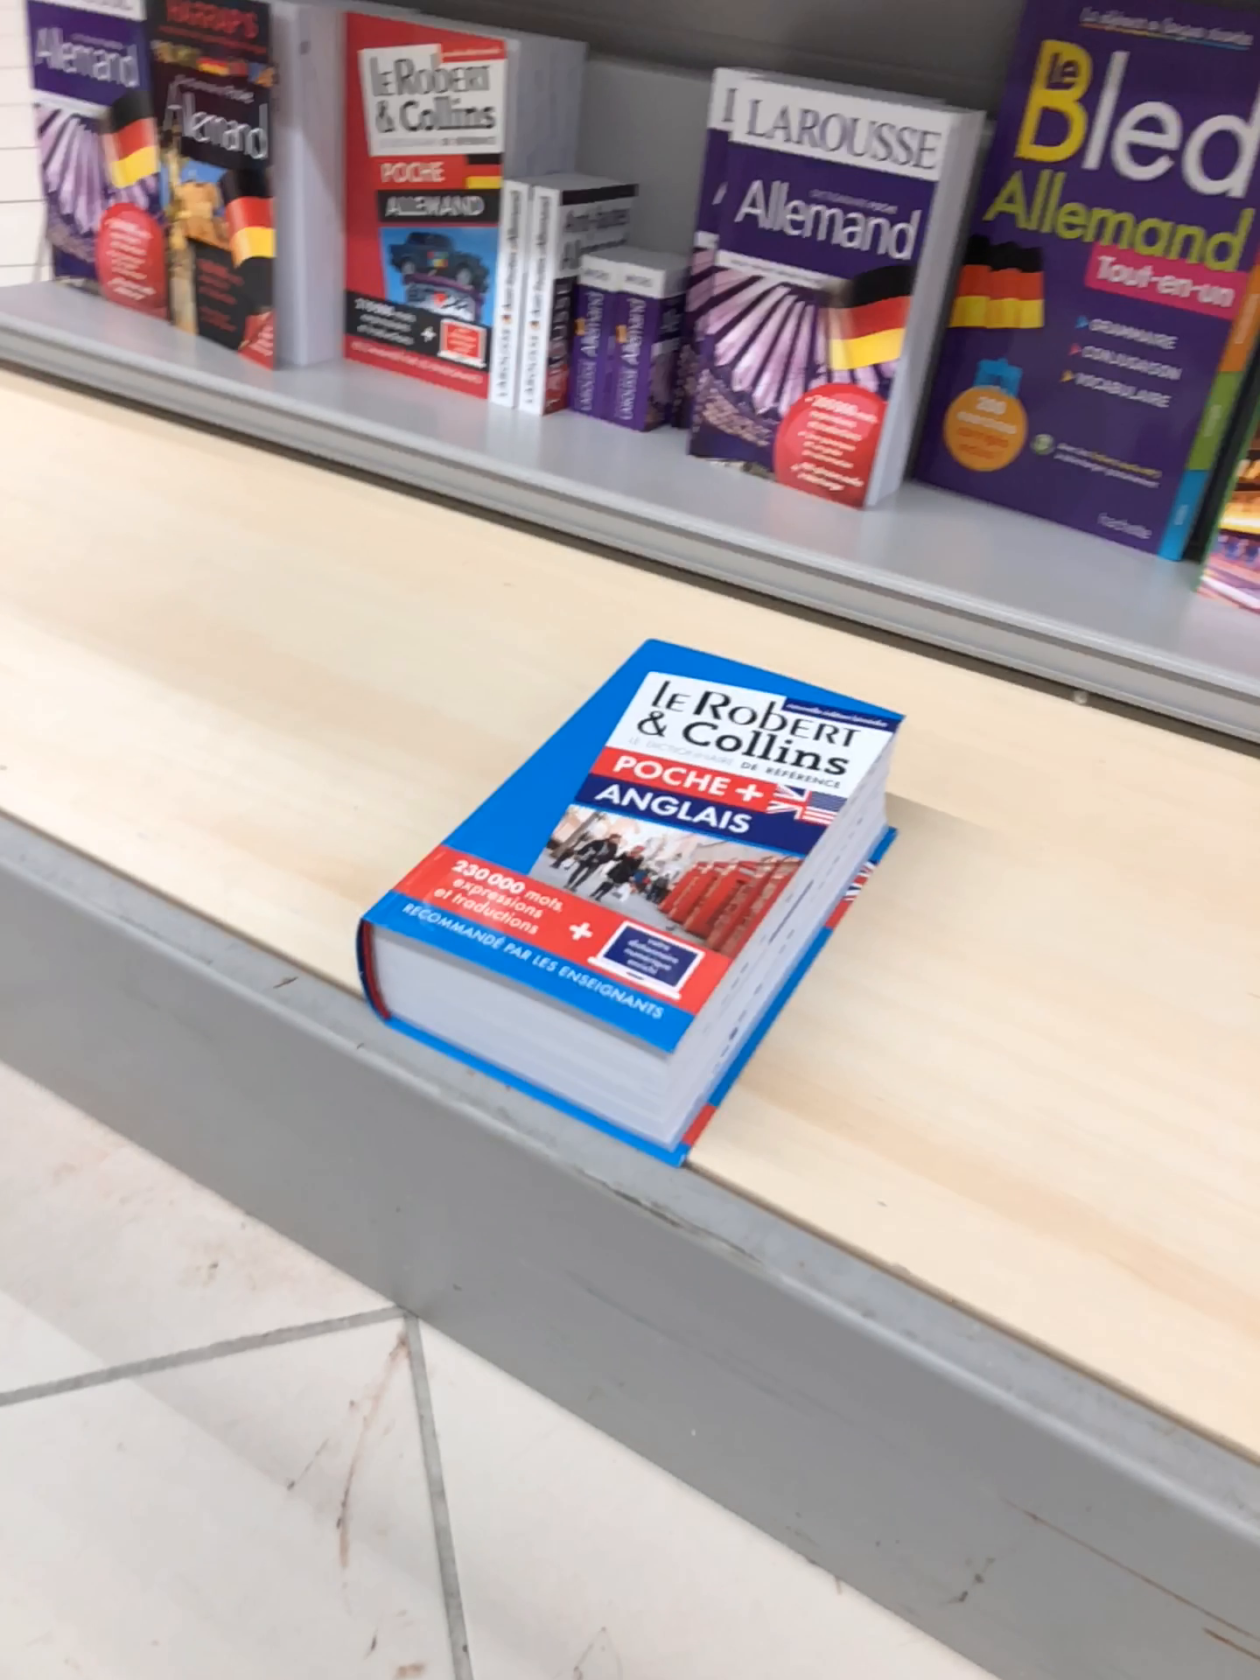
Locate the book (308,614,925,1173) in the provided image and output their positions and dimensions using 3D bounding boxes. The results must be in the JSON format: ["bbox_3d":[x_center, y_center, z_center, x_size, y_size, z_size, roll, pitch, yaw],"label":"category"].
[{"bbox_3d":[0.004,0.005,0.472,0.128,0.051,0.185,21,45,22],"label":"book"}]
